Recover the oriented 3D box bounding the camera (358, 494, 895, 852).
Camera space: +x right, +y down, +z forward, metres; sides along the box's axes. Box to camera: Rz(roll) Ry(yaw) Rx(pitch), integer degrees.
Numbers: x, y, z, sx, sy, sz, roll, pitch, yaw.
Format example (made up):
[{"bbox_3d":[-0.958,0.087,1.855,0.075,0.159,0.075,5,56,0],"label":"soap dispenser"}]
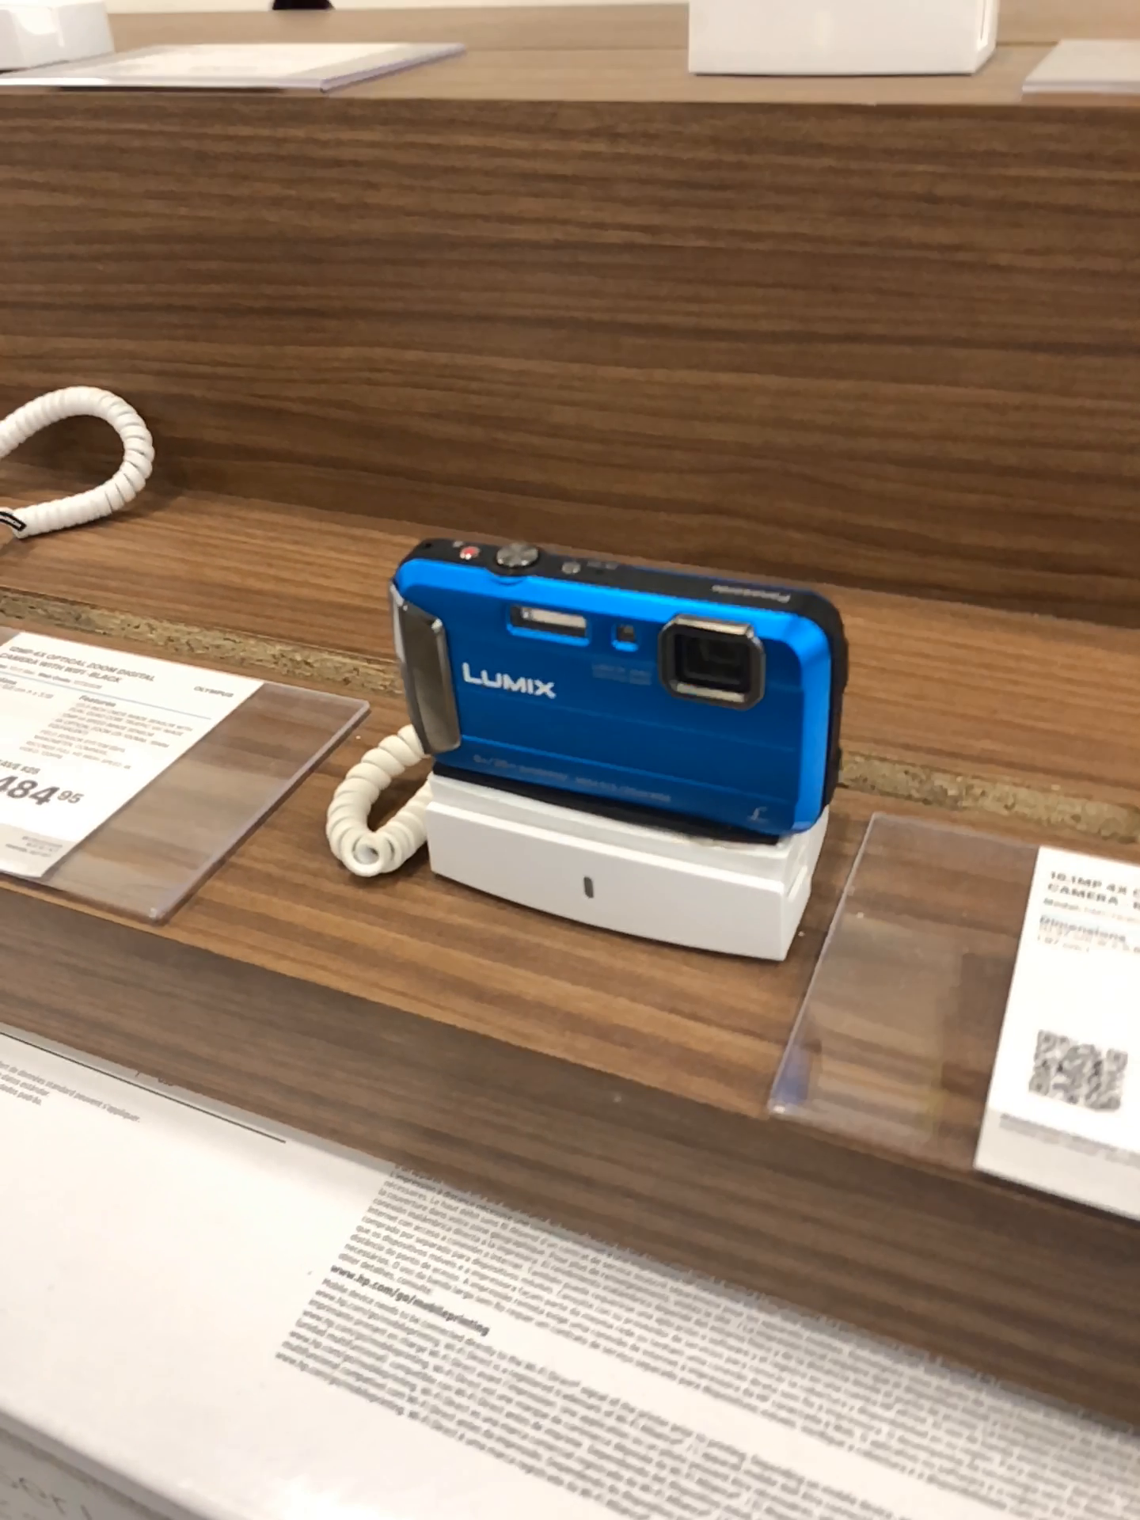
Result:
[{"bbox_3d":[0.011,-0.020,0.277,0.110,0.060,0.020,11,40,21],"label":"camera"}]
